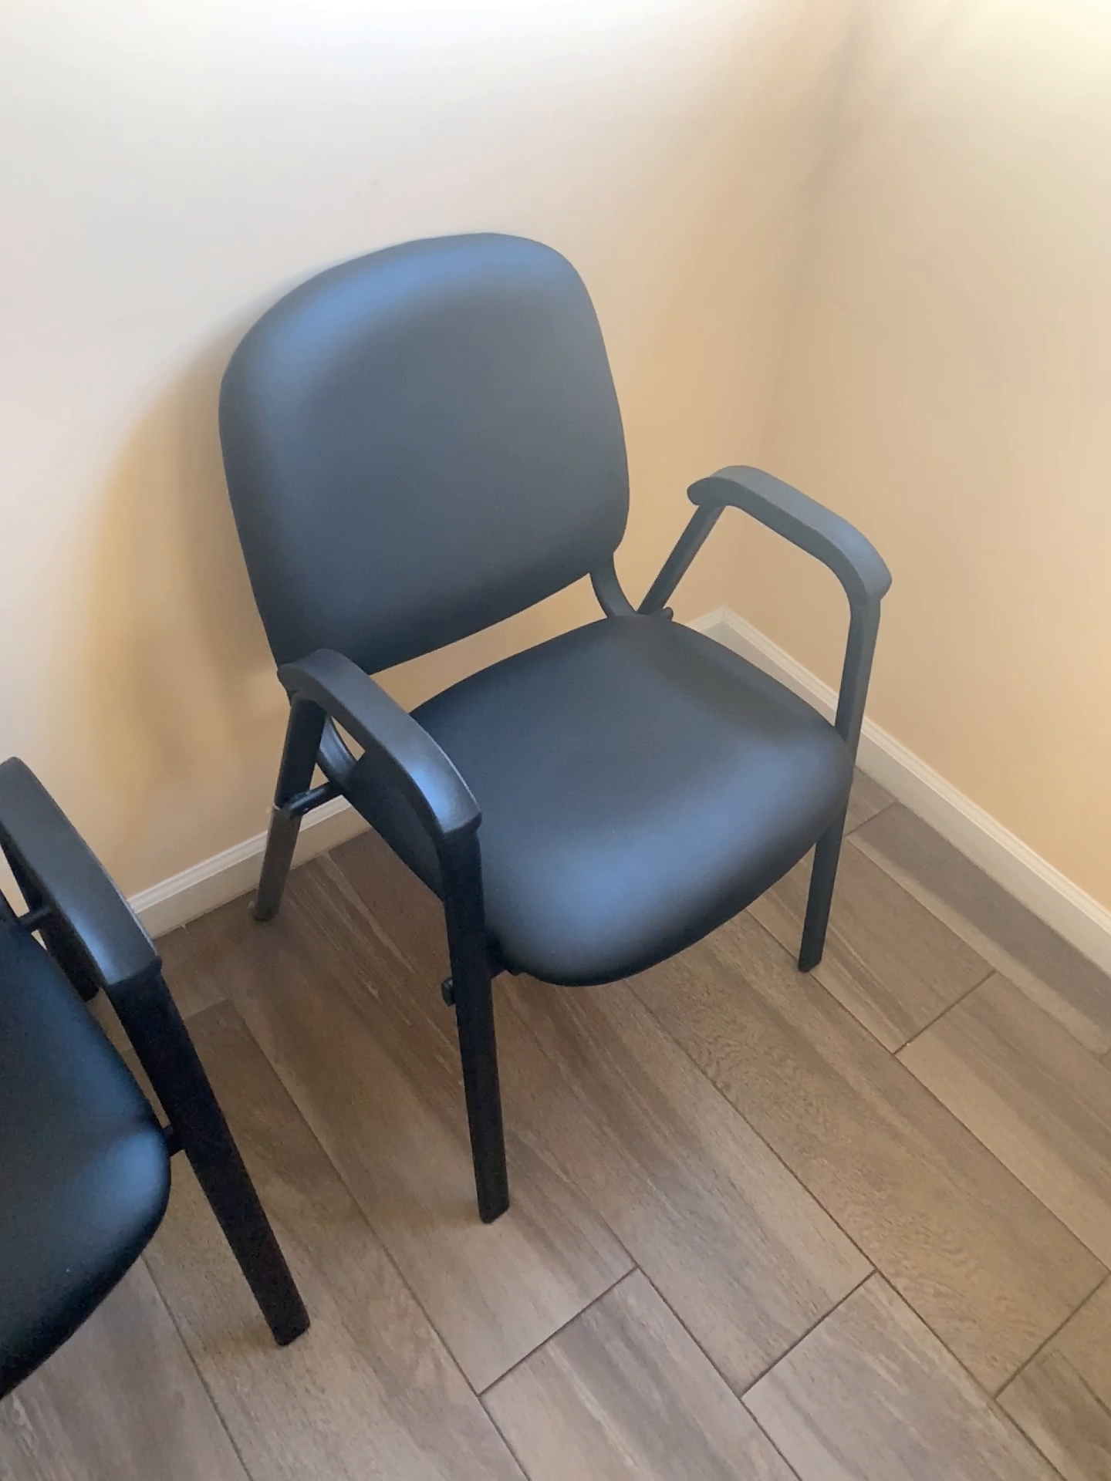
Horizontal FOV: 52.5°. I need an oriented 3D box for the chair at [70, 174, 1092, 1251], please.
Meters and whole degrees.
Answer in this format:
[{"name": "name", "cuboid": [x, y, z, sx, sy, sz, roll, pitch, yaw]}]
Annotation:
[{"name": "chair", "cuboid": [-0.006, -0.029, 1.255, 0.636, 0.847, 0.590, -29, 55, -28]}]
